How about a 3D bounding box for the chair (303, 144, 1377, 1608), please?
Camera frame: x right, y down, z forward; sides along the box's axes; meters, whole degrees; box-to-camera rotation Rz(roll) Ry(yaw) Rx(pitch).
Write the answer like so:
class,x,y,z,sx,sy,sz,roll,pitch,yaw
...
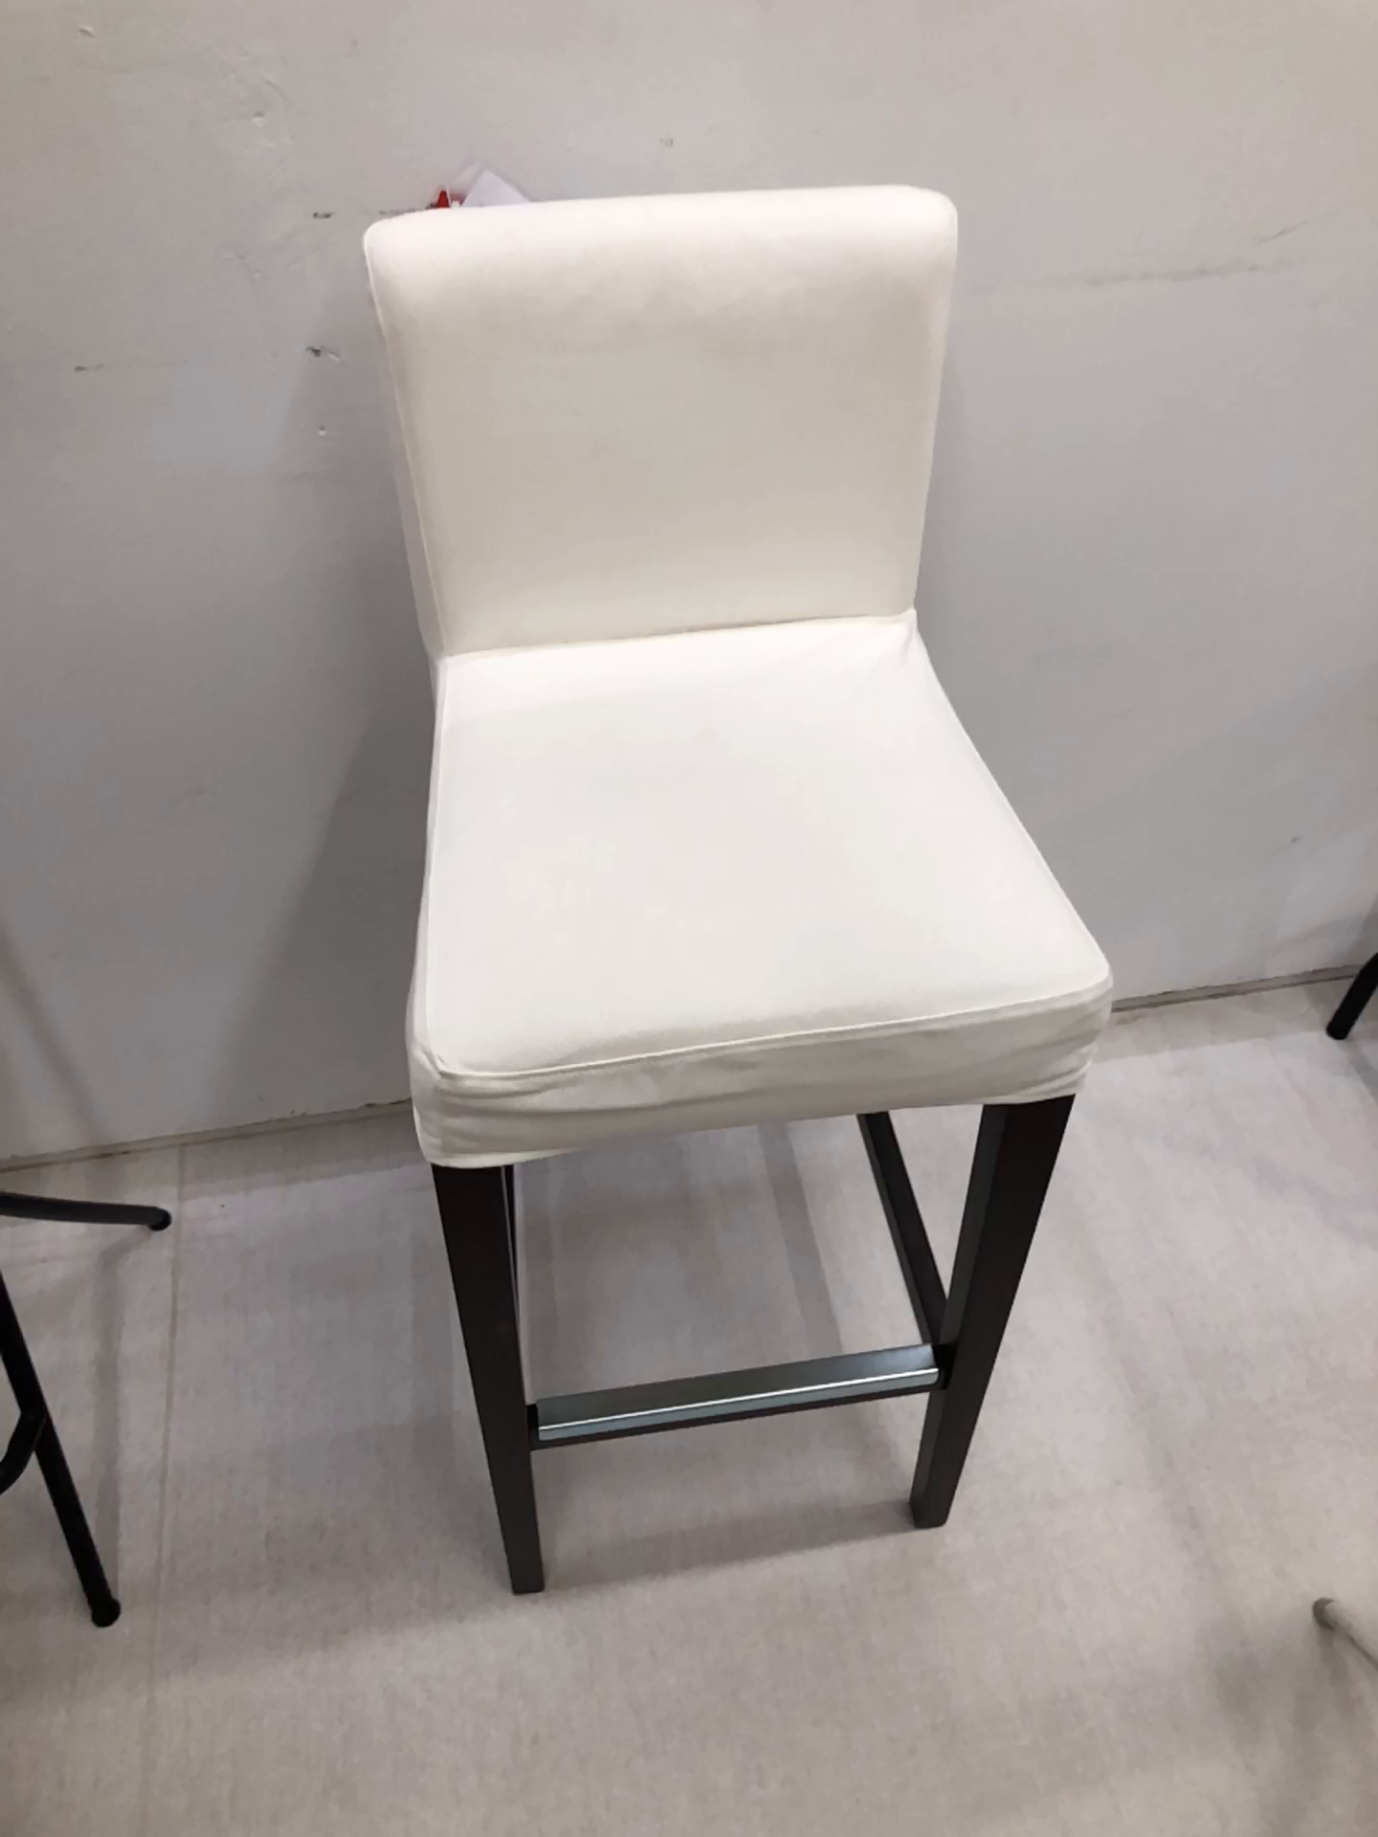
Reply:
class,x,y,z,sx,sy,sz,roll,pitch,yaw
chair,0.031,0.018,1.065,0.440,0.854,0.533,-7,47,-7
